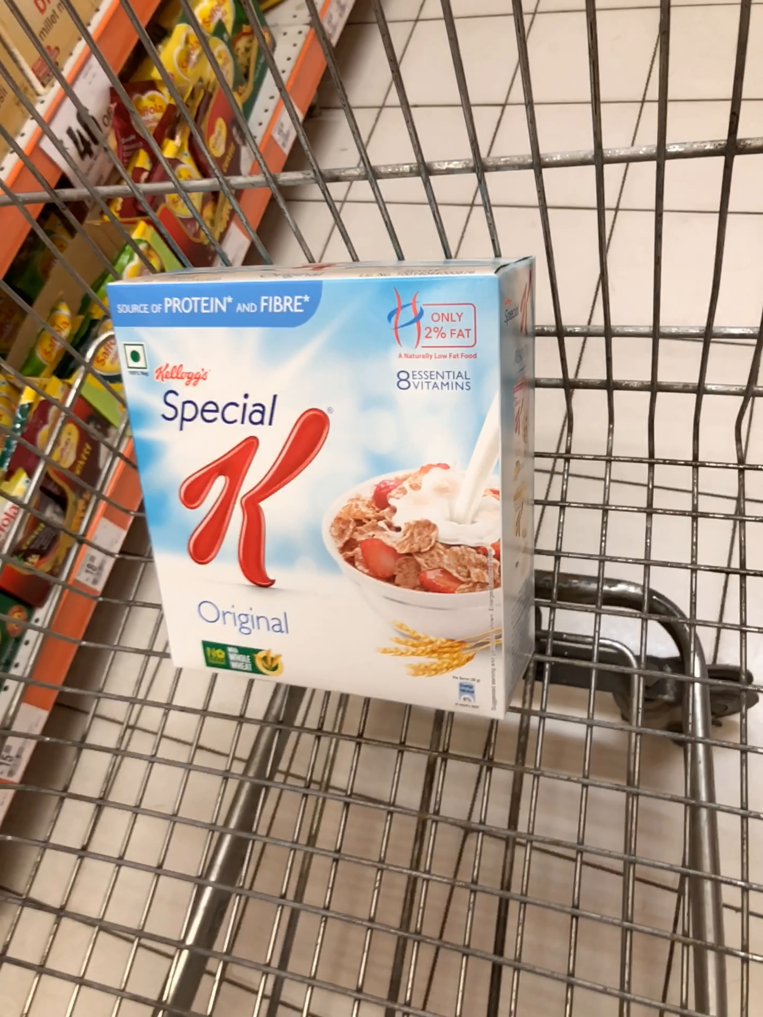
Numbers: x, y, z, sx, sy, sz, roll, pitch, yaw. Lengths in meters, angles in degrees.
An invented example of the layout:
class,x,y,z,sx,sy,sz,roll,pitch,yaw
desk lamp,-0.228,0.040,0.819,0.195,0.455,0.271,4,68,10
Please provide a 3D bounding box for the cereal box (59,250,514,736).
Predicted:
class,x,y,z,sx,sy,sz,roll,pitch,yaw
cereal box,-0.036,-0.011,0.415,0.190,0.209,0.070,4,23,19
